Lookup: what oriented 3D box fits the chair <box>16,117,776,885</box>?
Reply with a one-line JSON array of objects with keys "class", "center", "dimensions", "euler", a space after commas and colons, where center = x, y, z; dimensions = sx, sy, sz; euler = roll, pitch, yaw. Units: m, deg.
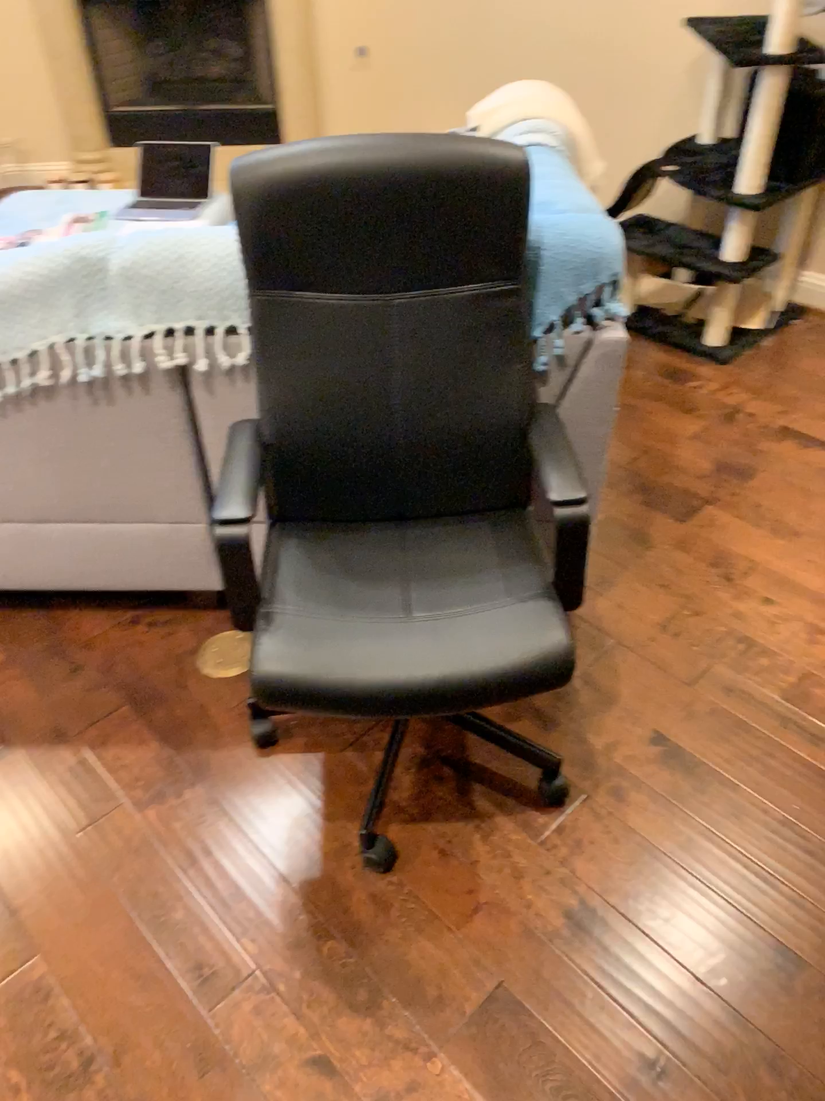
[{"class": "chair", "center": [-0.013, -0.067, 1.433], "dimensions": [0.734, 1.036, 0.763], "euler": [-2, 40, 0]}]
